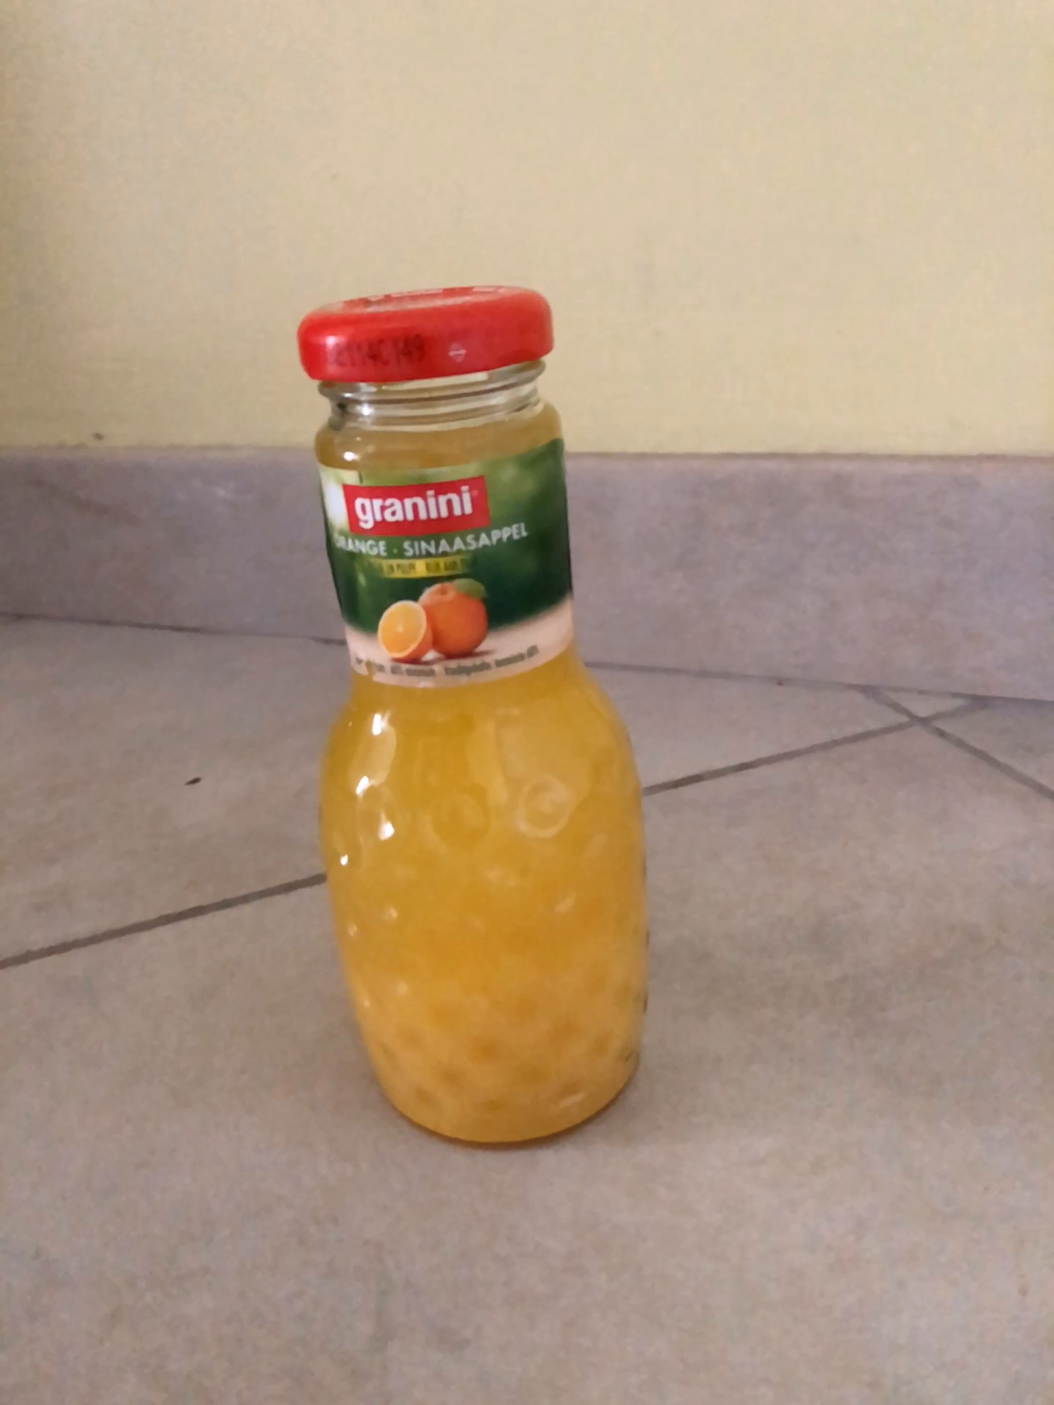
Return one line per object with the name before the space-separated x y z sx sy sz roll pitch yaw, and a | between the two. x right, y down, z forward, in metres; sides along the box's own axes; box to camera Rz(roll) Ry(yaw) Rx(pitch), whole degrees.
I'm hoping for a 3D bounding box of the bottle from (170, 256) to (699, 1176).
bottle | -0.006 0.004 0.223 0.070 0.159 0.060 0 25 12
